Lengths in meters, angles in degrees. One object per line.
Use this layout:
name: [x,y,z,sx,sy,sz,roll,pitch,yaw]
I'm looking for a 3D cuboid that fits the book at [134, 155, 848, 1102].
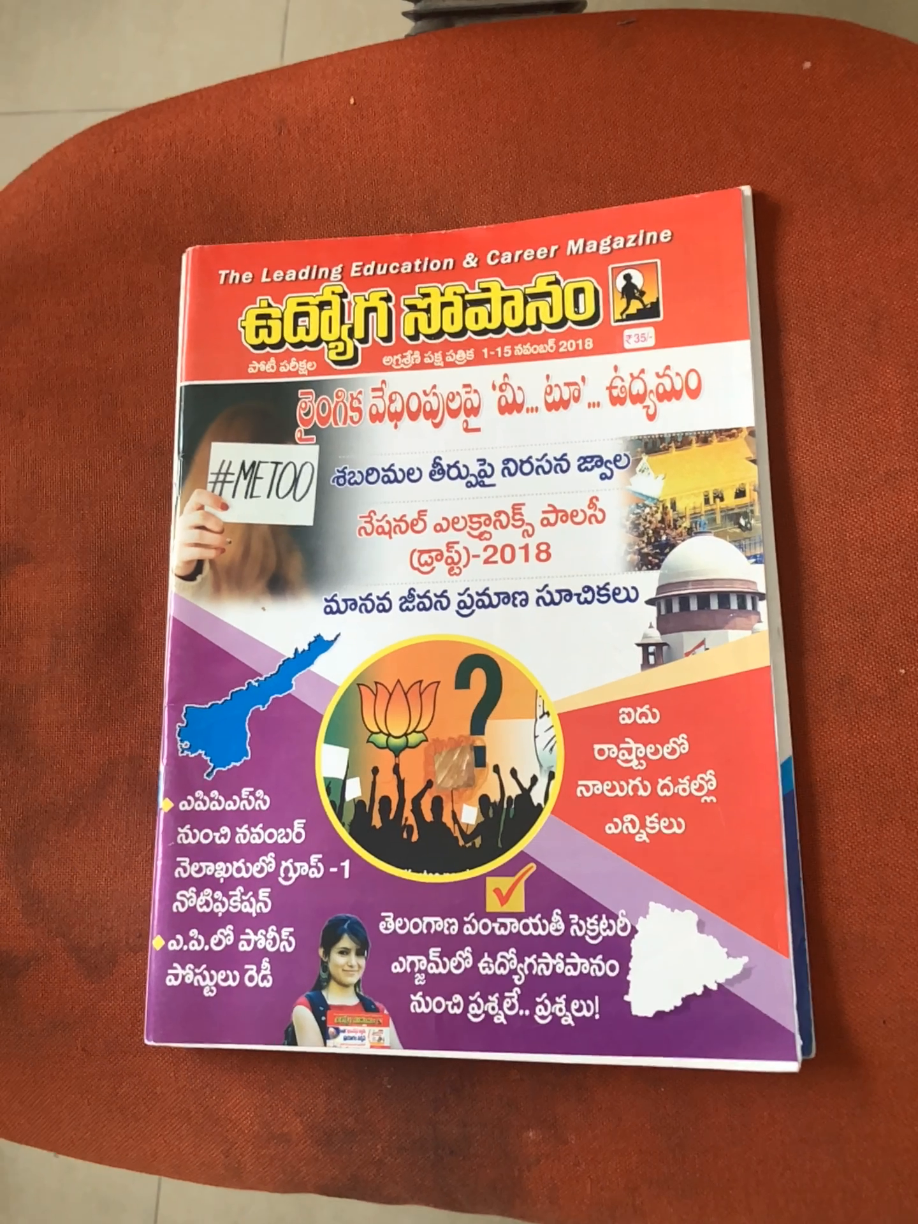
book: [0.004,0.001,0.353,0.217,0.040,0.295,-3,78,12]
